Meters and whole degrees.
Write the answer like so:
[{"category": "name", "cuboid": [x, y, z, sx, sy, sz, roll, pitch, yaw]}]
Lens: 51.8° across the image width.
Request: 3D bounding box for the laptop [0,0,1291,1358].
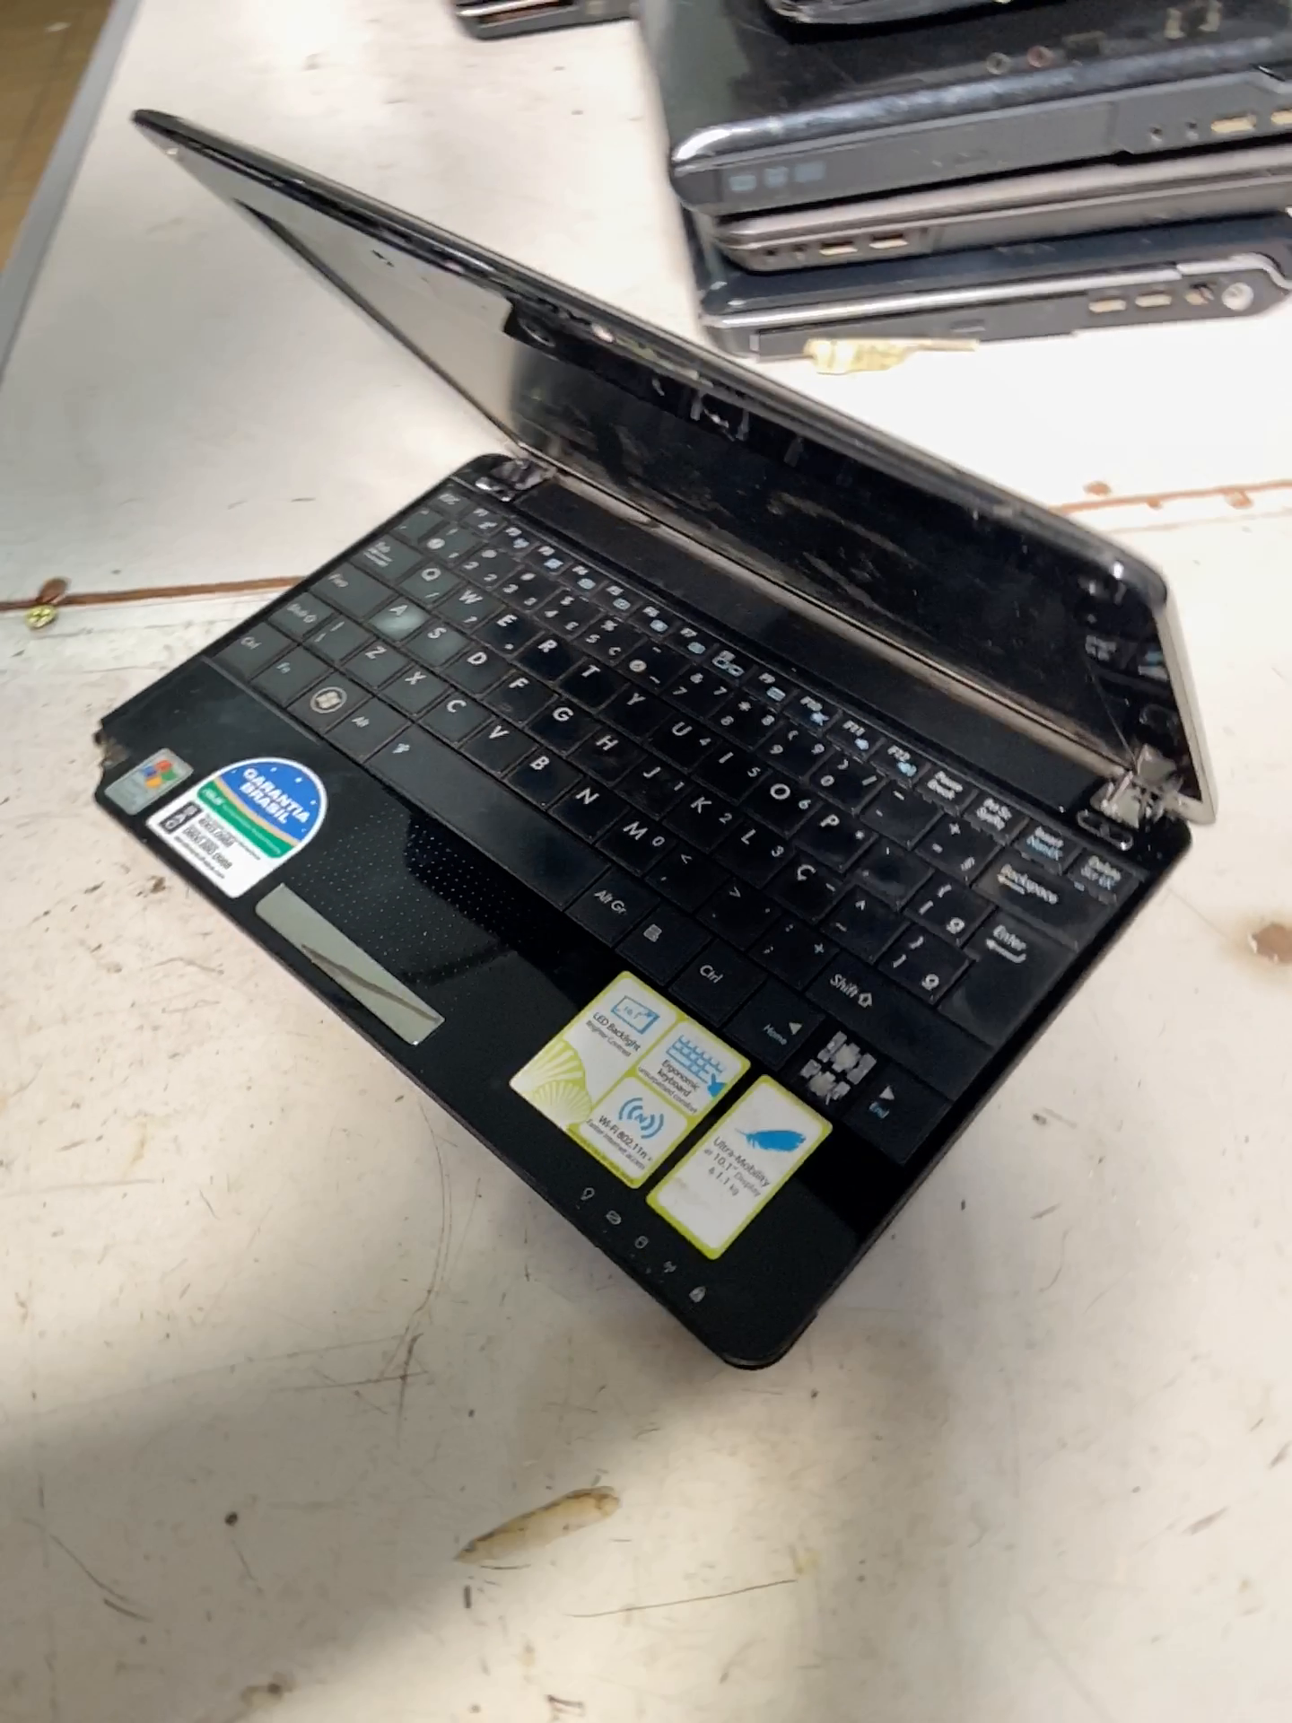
[{"category": "laptop", "cuboid": [-0.018, -0.065, 0.309, 0.262, 0.137, 0.168, 36, 63, 28]}]
